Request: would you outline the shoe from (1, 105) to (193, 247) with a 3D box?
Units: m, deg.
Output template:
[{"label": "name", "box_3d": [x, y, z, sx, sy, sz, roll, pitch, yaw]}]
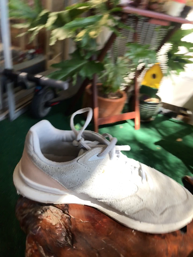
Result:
[{"label": "shoe", "box_3d": [0.019, 0.057, 0.302, 0.263, 0.091, 0.103, 14, 31, 5]}]
